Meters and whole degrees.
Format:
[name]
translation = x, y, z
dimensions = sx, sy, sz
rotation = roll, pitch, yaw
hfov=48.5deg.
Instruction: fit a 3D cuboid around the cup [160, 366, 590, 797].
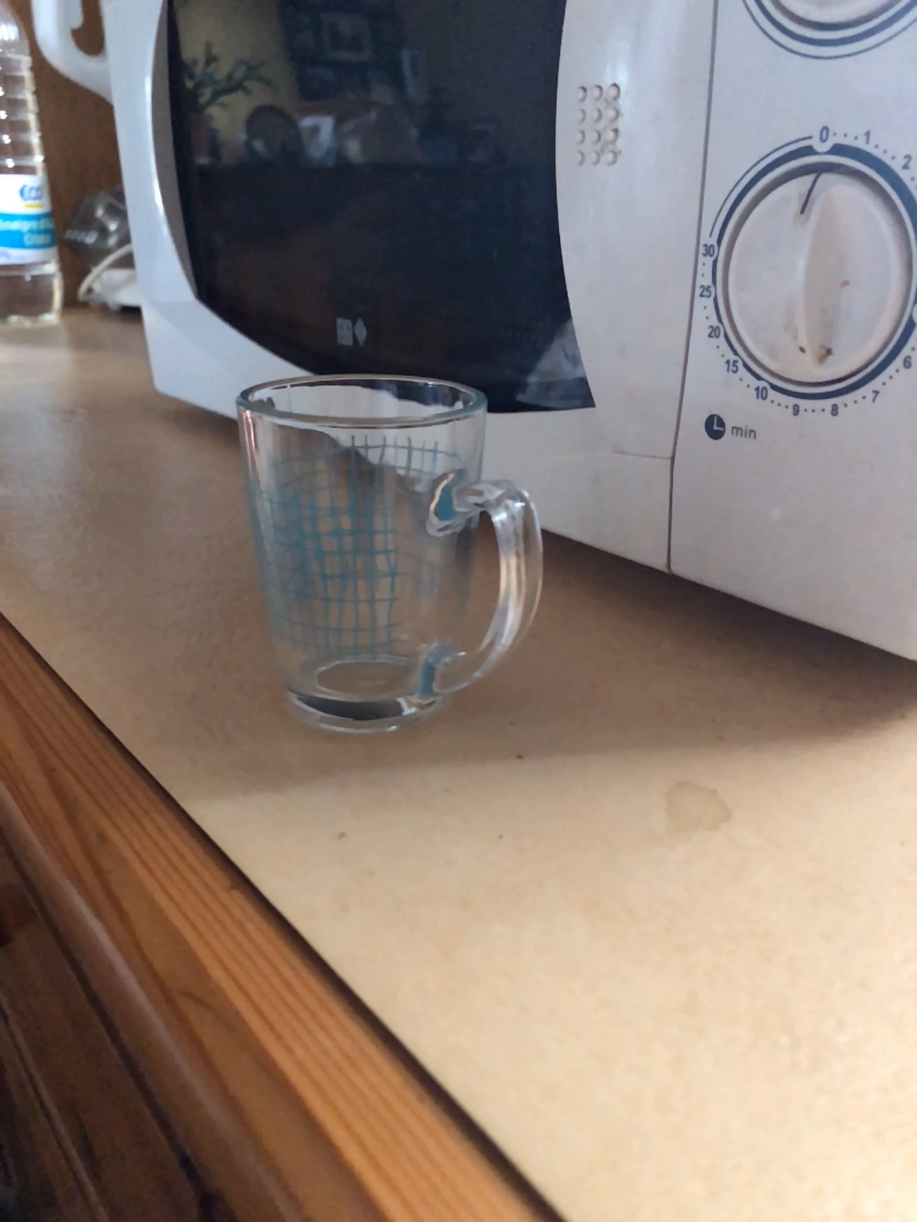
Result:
[cup]
translation = -0.021, -0.014, 0.239
dimensions = 0.060, 0.070, 0.080
rotation = -17, 28, -36
